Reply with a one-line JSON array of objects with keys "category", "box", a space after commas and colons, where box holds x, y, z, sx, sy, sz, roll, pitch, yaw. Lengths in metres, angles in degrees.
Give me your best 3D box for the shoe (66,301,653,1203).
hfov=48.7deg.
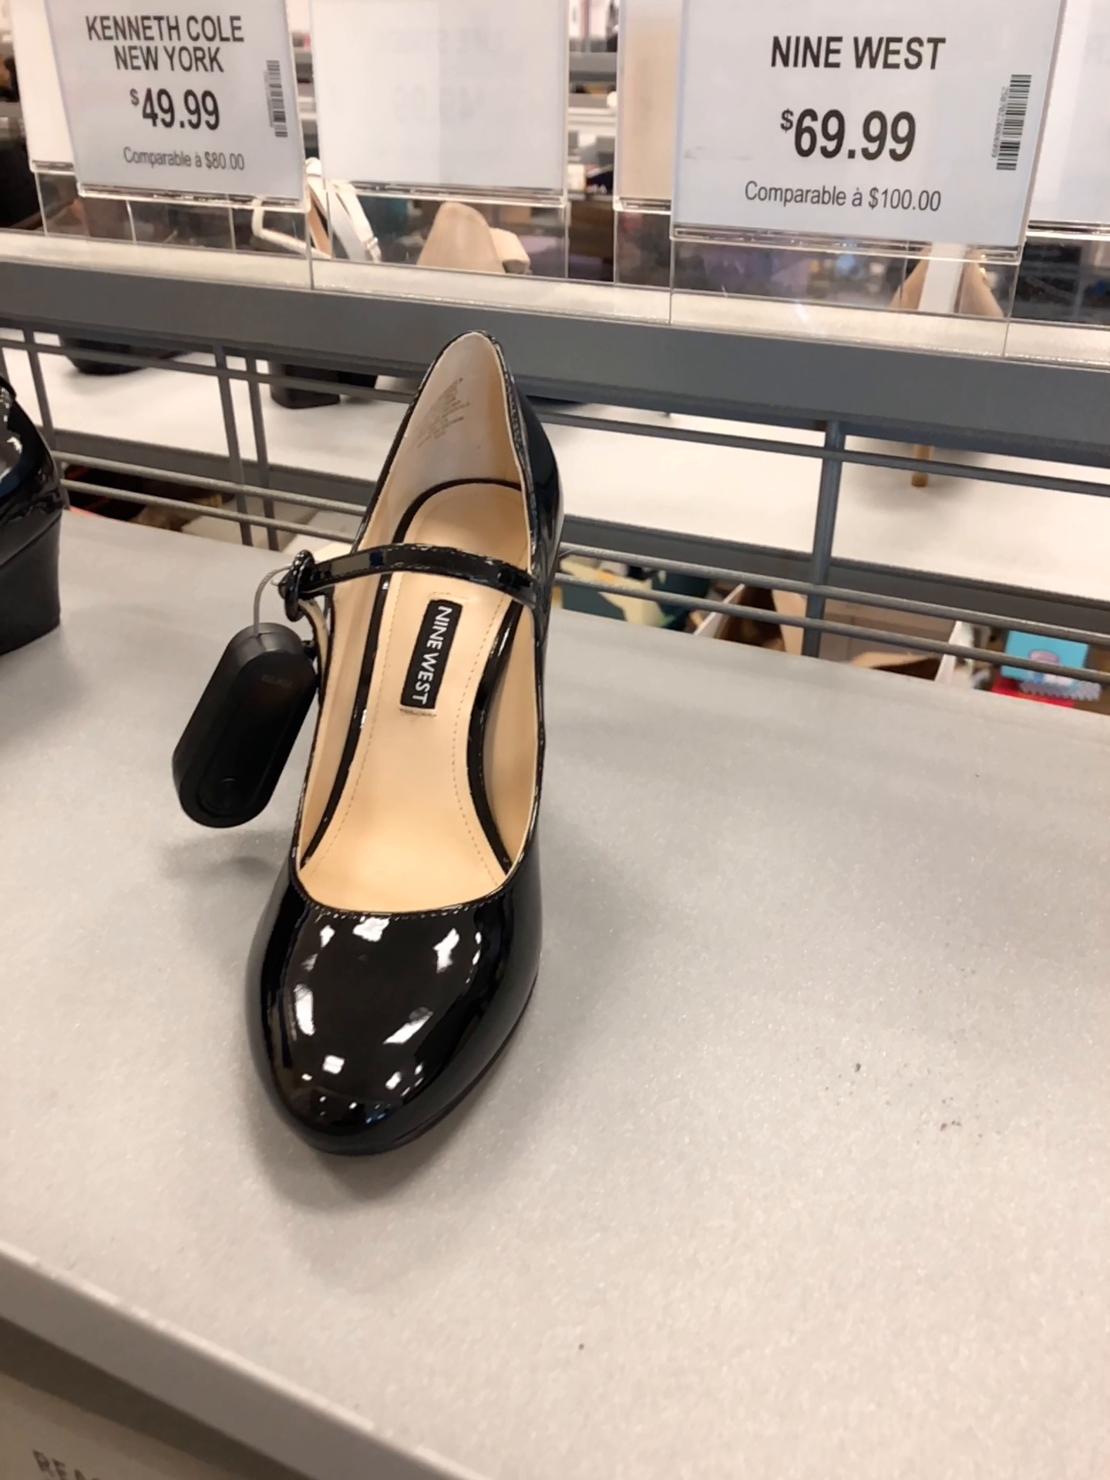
[{"category": "shoe", "box": [-0.027, -0.025, 0.366, 0.090, 0.151, 0.258, 4, 31, 7]}]
